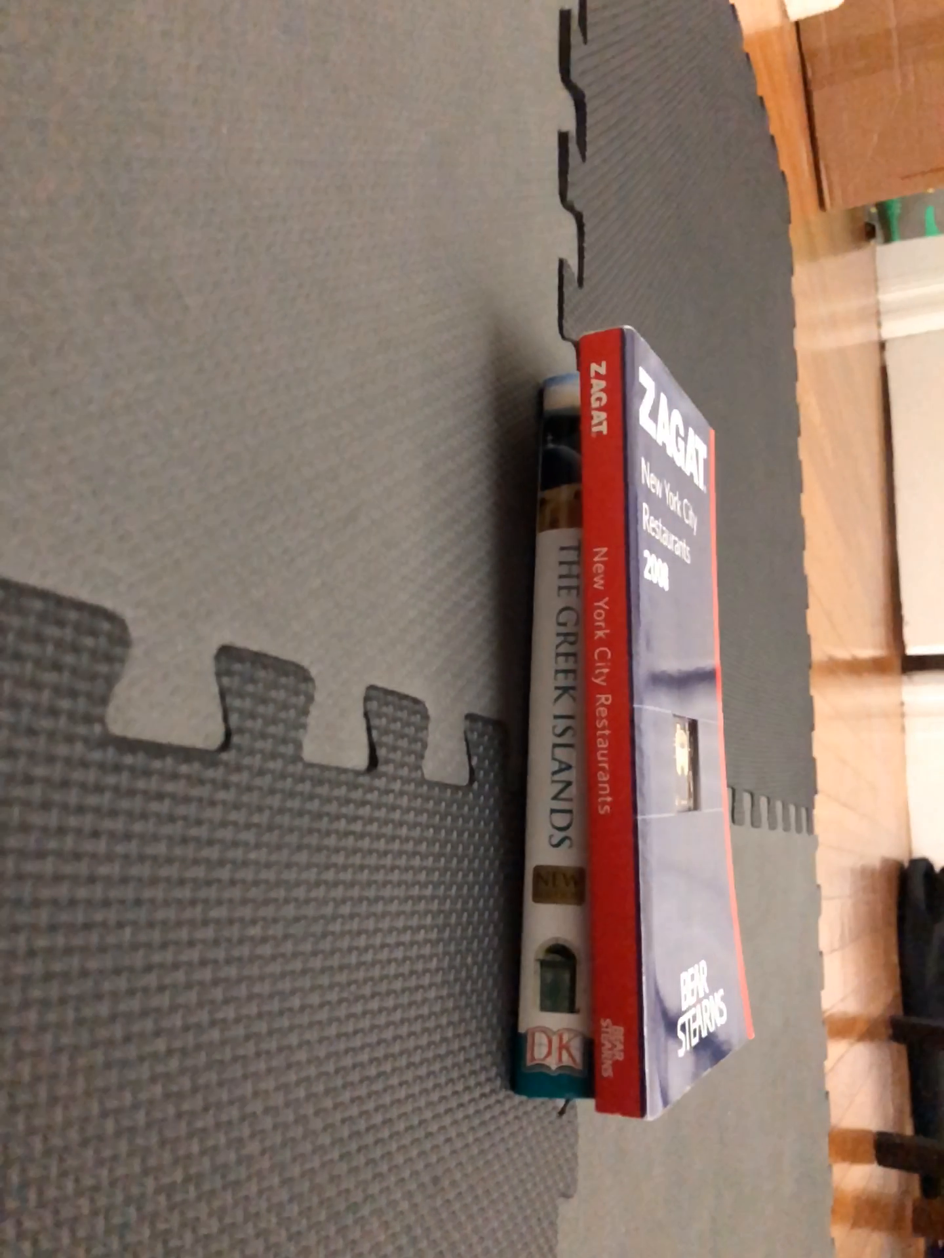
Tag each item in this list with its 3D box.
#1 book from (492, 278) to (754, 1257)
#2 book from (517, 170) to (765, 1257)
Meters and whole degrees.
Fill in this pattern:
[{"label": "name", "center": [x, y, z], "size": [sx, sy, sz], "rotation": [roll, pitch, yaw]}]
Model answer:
[{"label": "book", "center": [0.061, 0.044, 0.354], "size": [0.171, 0.030, 0.260], "rotation": [29, 60, -60]}, {"label": "book", "center": [0.055, 0.024, 0.302], "size": [0.151, 0.020, 0.250], "rotation": [12, 75, -64]}]
